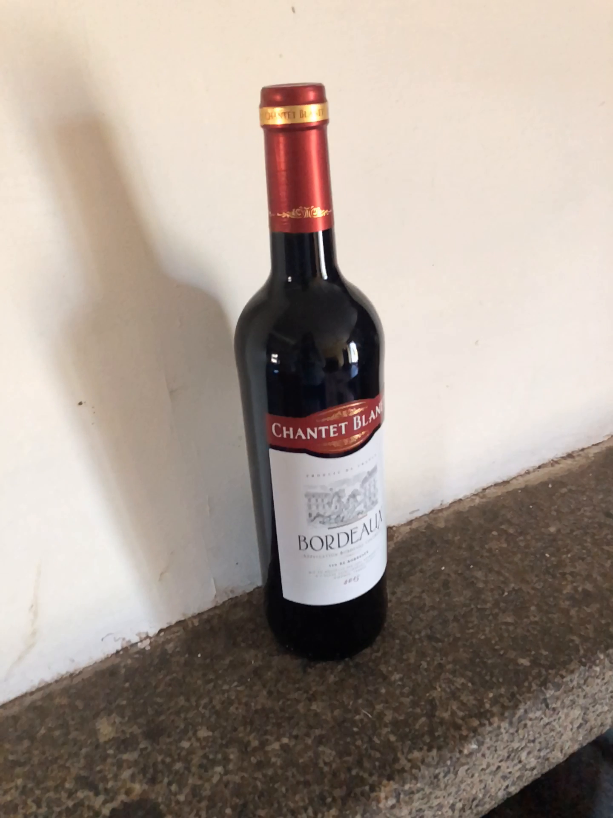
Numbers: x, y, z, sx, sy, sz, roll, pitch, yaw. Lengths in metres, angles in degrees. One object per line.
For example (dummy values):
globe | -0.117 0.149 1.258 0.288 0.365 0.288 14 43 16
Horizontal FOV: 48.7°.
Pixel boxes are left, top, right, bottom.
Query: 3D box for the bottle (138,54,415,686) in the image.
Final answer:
bottle | -0.004 -0.009 0.336 0.080 0.288 0.080 -4 28 2
